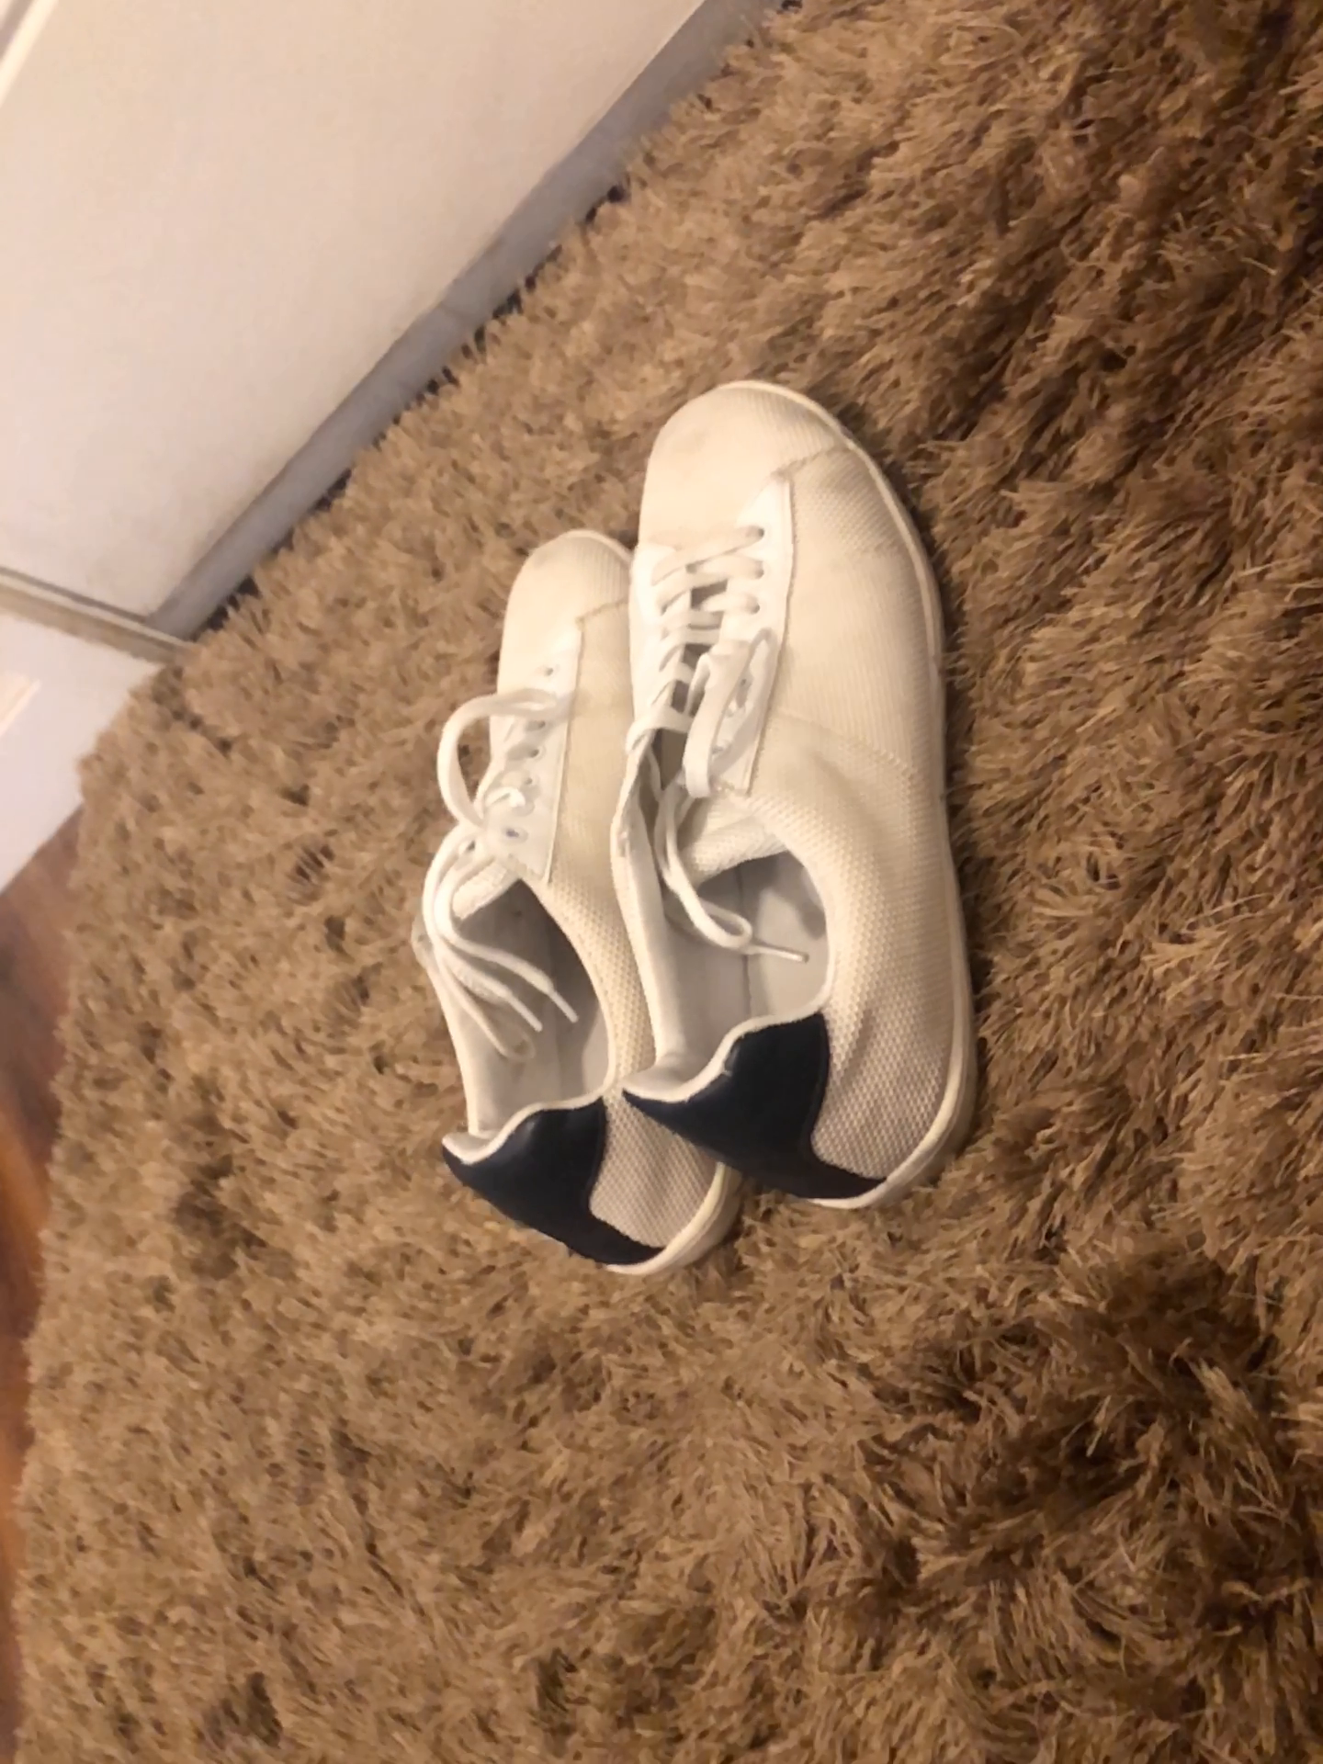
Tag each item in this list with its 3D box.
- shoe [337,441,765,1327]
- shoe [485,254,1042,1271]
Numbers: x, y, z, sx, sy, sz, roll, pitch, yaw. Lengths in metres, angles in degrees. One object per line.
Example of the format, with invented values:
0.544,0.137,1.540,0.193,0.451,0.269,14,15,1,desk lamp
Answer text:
-0.046,0.001,0.484,0.101,0.079,0.263,-29,56,40,shoe
0.017,-0.034,0.425,0.105,0.079,0.263,-29,56,40,shoe
